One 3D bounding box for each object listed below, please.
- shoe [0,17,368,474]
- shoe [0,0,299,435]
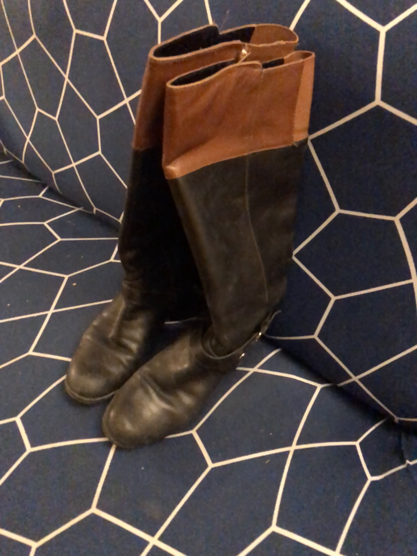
[{"bbox_3d":[-0.017,-0.001,0.436,0.250,0.378,0.100,-32,57,-27],"label":"shoe"},{"bbox_3d":[-0.065,-0.048,0.502,0.110,0.427,0.271,34,54,23],"label":"shoe"}]
